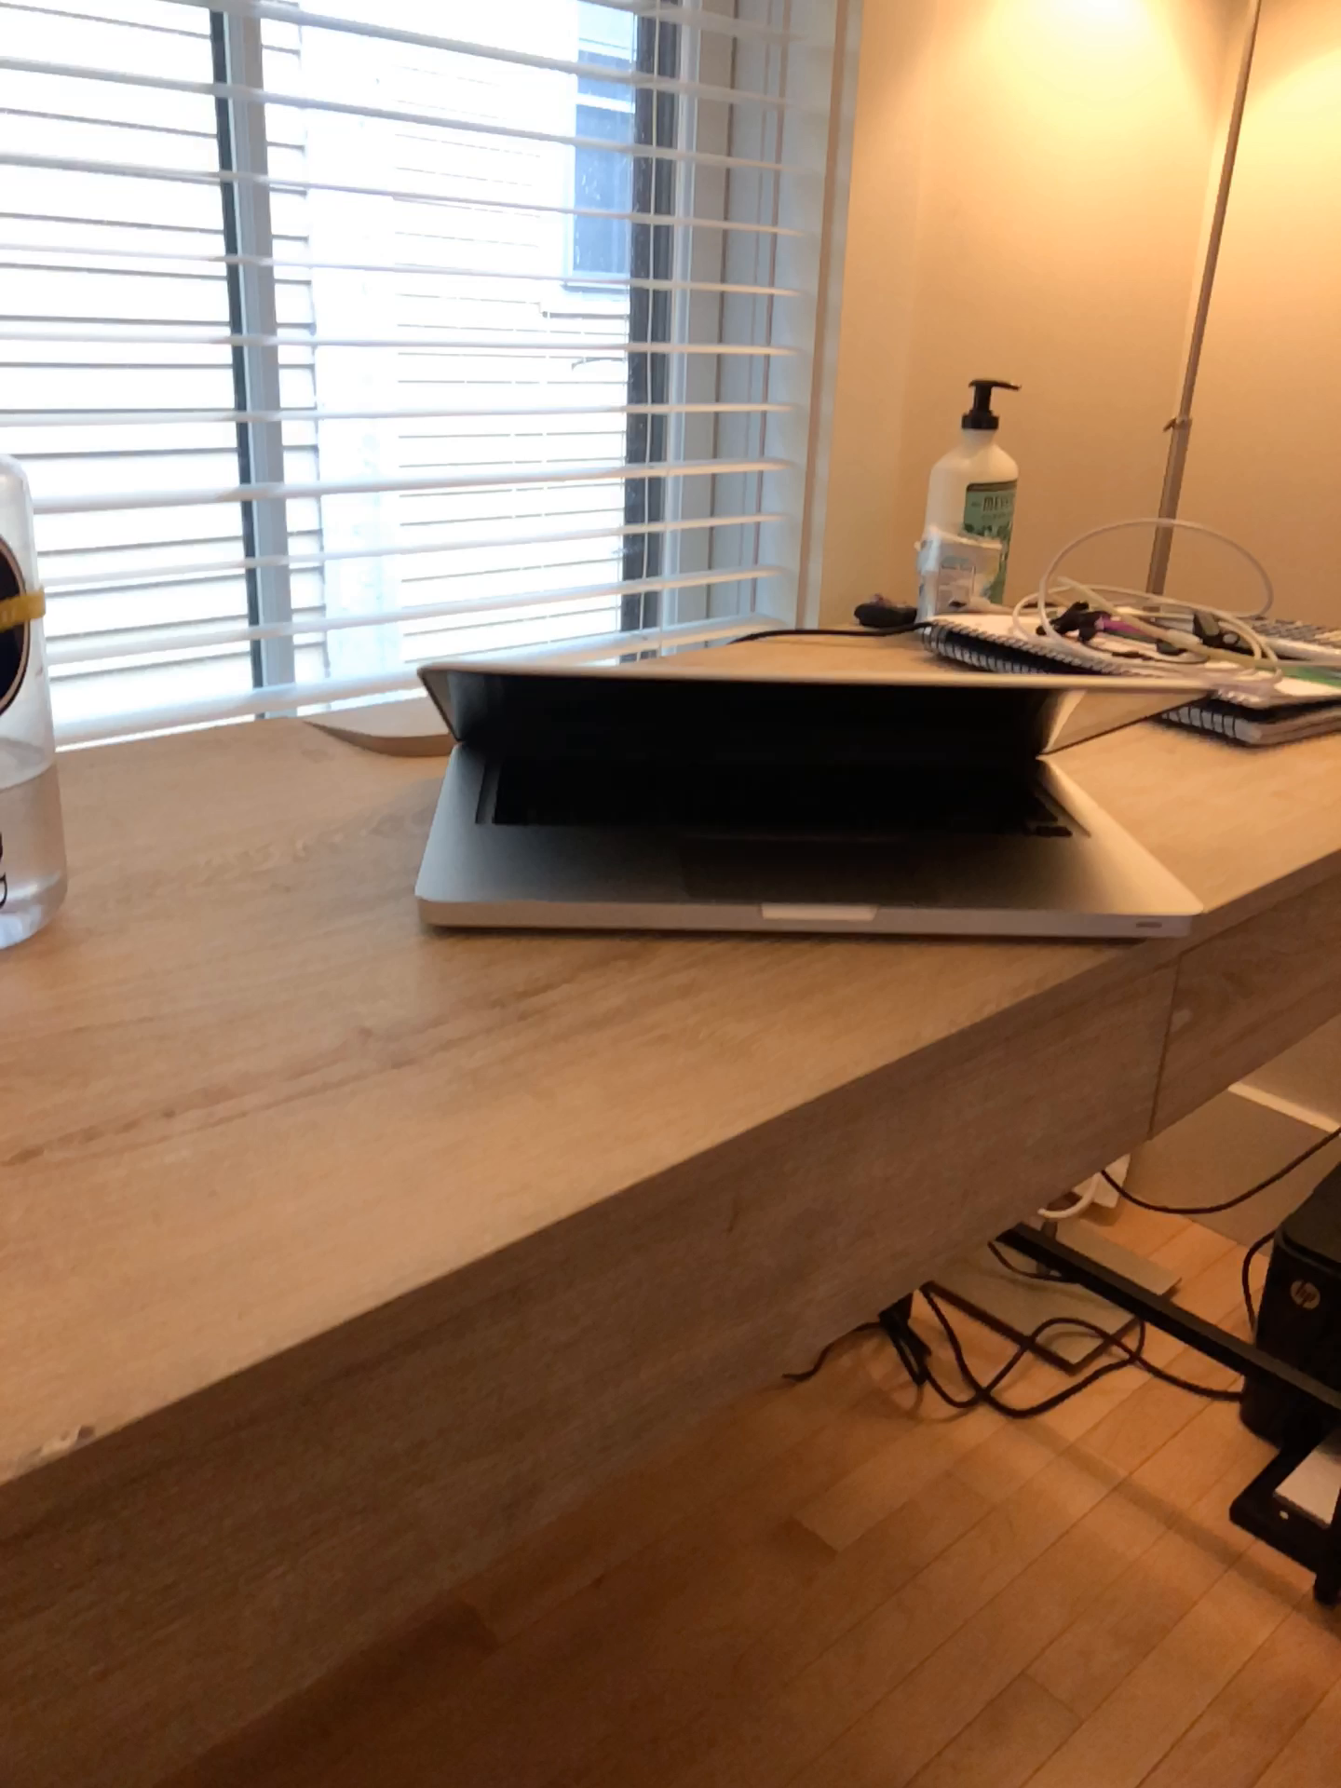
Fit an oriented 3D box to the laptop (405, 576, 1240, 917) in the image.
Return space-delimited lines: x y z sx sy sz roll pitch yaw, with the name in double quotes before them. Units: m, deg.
"laptop" 0.049 -0.072 0.636 0.300 0.082 0.210 1 22 -4
